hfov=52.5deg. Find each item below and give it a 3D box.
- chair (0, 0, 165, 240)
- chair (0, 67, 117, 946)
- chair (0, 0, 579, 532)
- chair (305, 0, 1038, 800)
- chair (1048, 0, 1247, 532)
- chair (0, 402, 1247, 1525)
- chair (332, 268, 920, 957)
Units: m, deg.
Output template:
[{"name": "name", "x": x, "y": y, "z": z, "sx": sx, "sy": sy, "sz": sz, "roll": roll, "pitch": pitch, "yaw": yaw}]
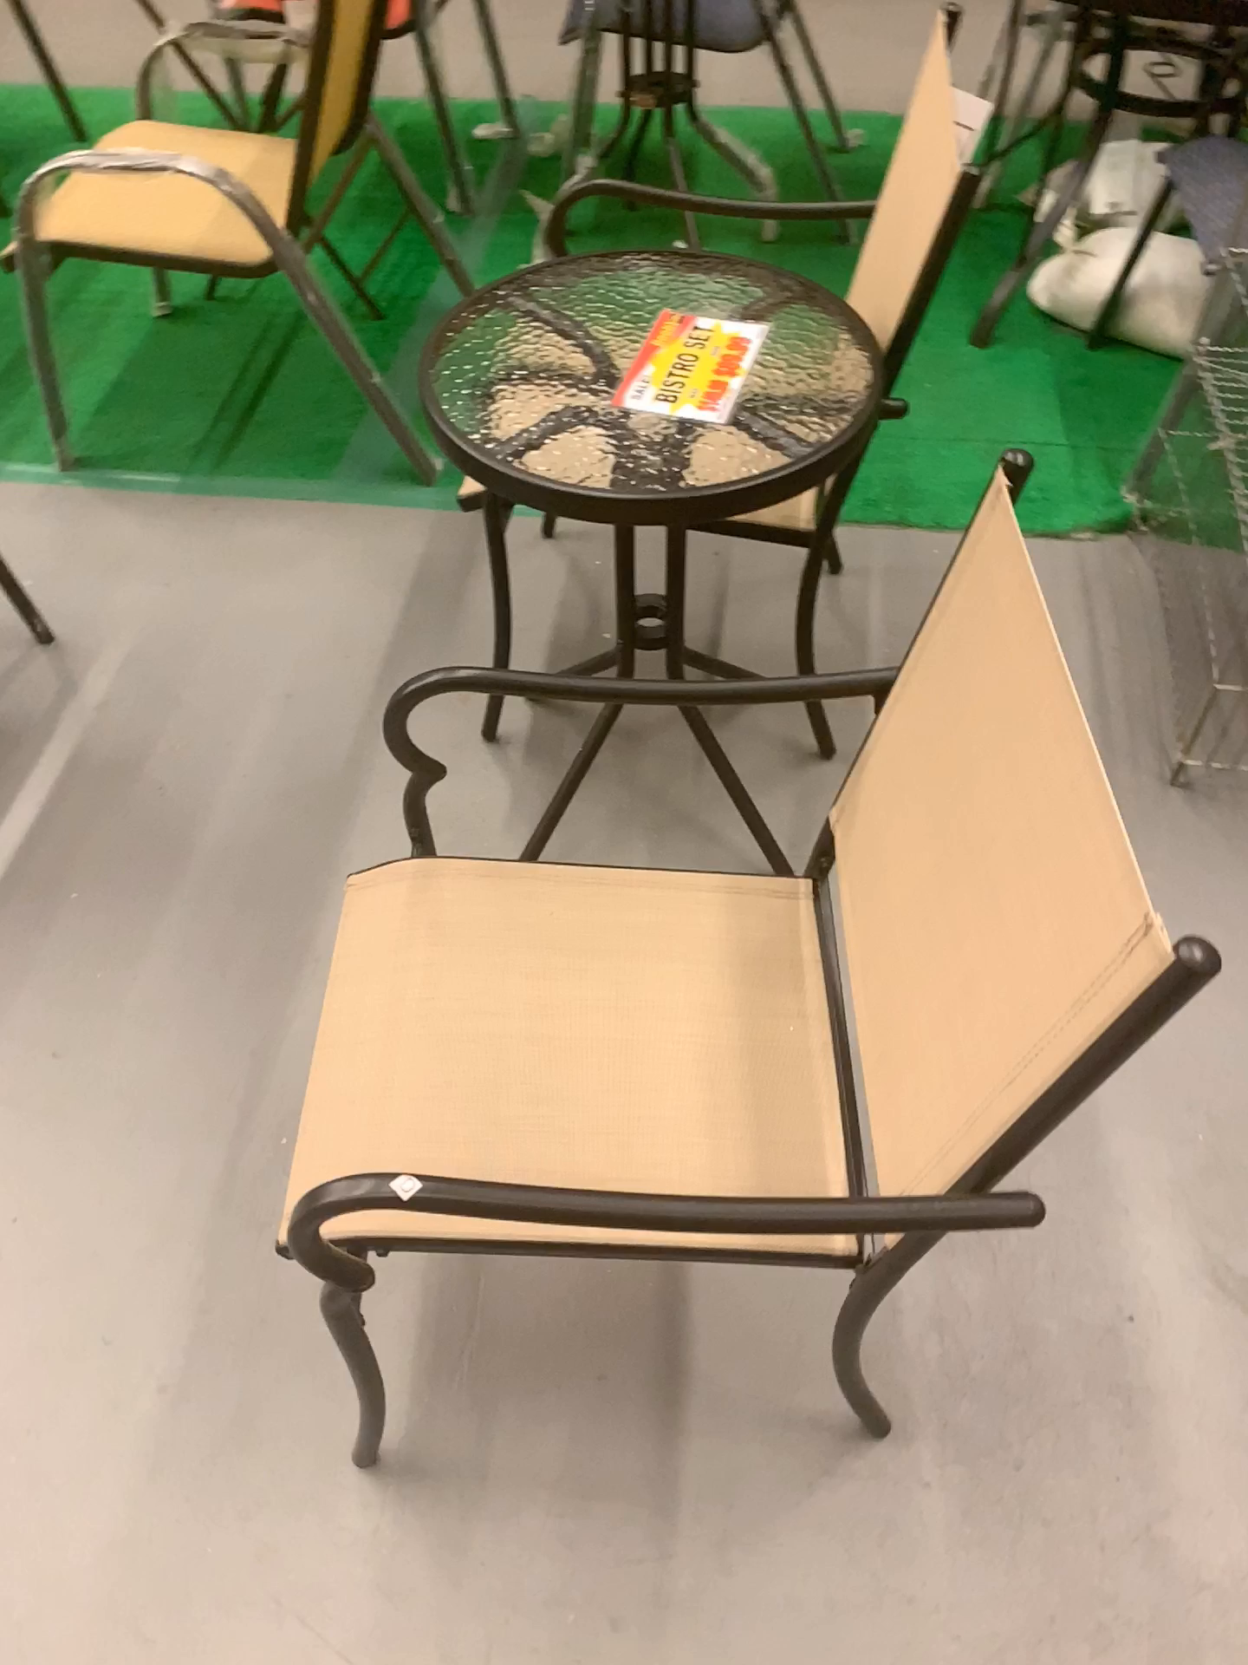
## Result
[{"name": "chair", "x": -1.757, "y": -2.008, "z": 2.991, "sx": 0.885, "sy": 0.873, "sz": 0.677, "roll": 5, "pitch": 50, "yaw": 5}, {"name": "chair", "x": -1.331, "y": -0.401, "z": 1.625, "sx": 0.885, "sy": 0.804, "sz": 0.677, "roll": 5, "pitch": 50, "yaw": 5}, {"name": "chair", "x": -0.665, "y": -1.210, "z": 2.230, "sx": 1.025, "sy": 0.983, "sz": 0.807, "roll": 5, "pitch": 50, "yaw": 5}, {"name": "chair", "x": 0.075, "y": -0.601, "z": 1.713, "sx": 0.675, "sy": 0.923, "sz": 0.617, "roll": 4, "pitch": 50, "yaw": 4}, {"name": "chair", "x": 1.189, "y": -1.102, "z": 2.066, "sx": 0.675, "sy": 0.953, "sz": 0.667, "roll": 4, "pitch": 50, "yaw": 4}, {"name": "chair", "x": -0.013, "y": 0.178, "z": 1.099, "sx": 0.615, "sy": 0.863, "sz": 0.577, "roll": -1, "pitch": 50, "yaw": 1}, {"name": "chair", "x": 0.026, "y": -0.260, "z": 1.579, "sx": 0.545, "sy": 0.634, "sz": 0.526, "roll": 3, "pitch": 50, "yaw": 4}]
